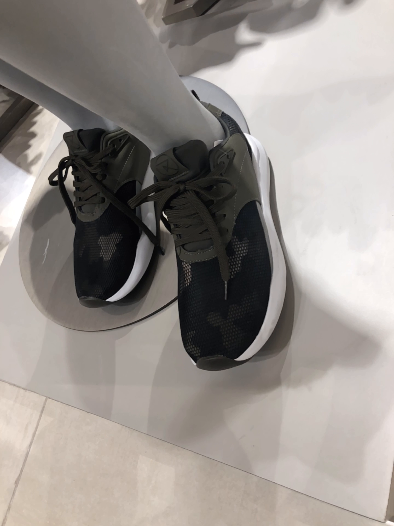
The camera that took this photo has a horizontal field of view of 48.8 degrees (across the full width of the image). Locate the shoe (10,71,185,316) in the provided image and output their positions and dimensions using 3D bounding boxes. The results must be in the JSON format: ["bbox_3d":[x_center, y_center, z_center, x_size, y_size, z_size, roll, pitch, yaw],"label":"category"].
[{"bbox_3d":[-0.109,-0.079,0.536,0.100,0.119,0.260,-2,67,30],"label":"shoe"}]

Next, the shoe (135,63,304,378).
[{"bbox_3d":[0.024,-0.040,0.439,0.110,0.109,0.281,-13,62,26],"label":"shoe"}]
